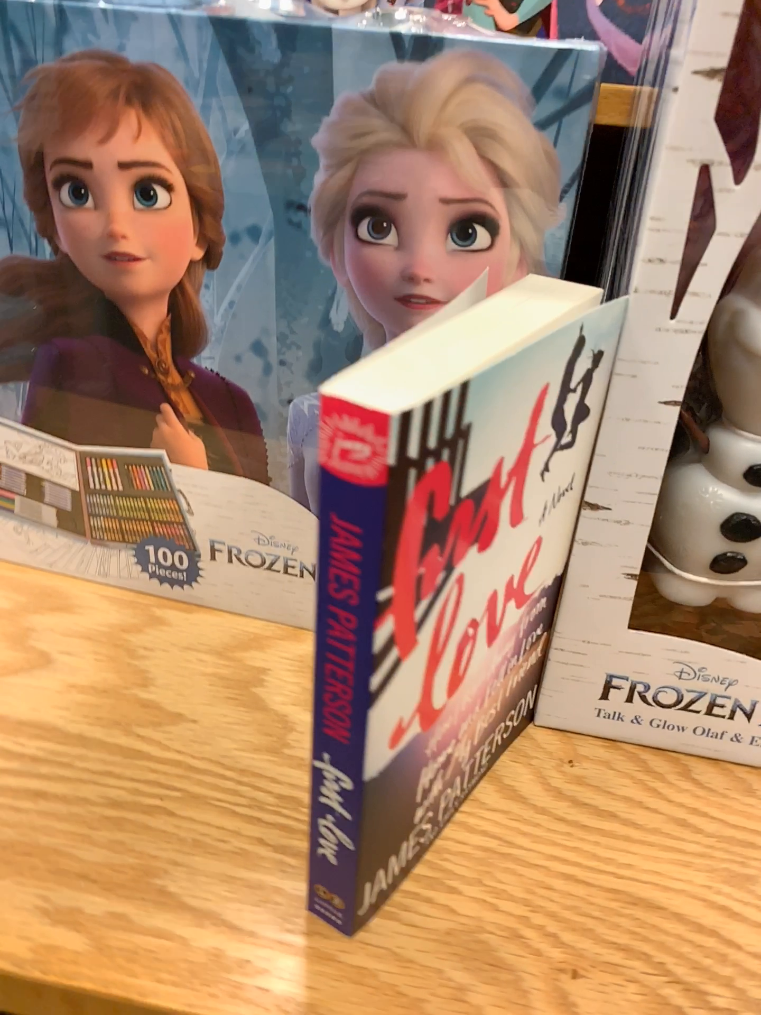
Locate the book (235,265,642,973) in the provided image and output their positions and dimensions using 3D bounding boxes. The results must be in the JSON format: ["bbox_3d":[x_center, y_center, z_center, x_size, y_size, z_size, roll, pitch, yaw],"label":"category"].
[{"bbox_3d":[0.024,0.033,0.284,0.059,0.205,0.142,19,34,28],"label":"book"}]
